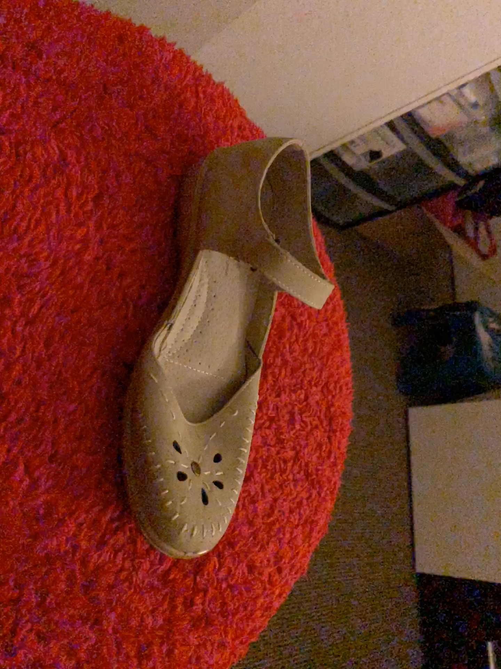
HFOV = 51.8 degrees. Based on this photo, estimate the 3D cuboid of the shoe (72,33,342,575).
[{"bbox_3d":[-0.011,-0.025,0.323,0.096,0.079,0.307,27,60,-39],"label":"shoe"}]
